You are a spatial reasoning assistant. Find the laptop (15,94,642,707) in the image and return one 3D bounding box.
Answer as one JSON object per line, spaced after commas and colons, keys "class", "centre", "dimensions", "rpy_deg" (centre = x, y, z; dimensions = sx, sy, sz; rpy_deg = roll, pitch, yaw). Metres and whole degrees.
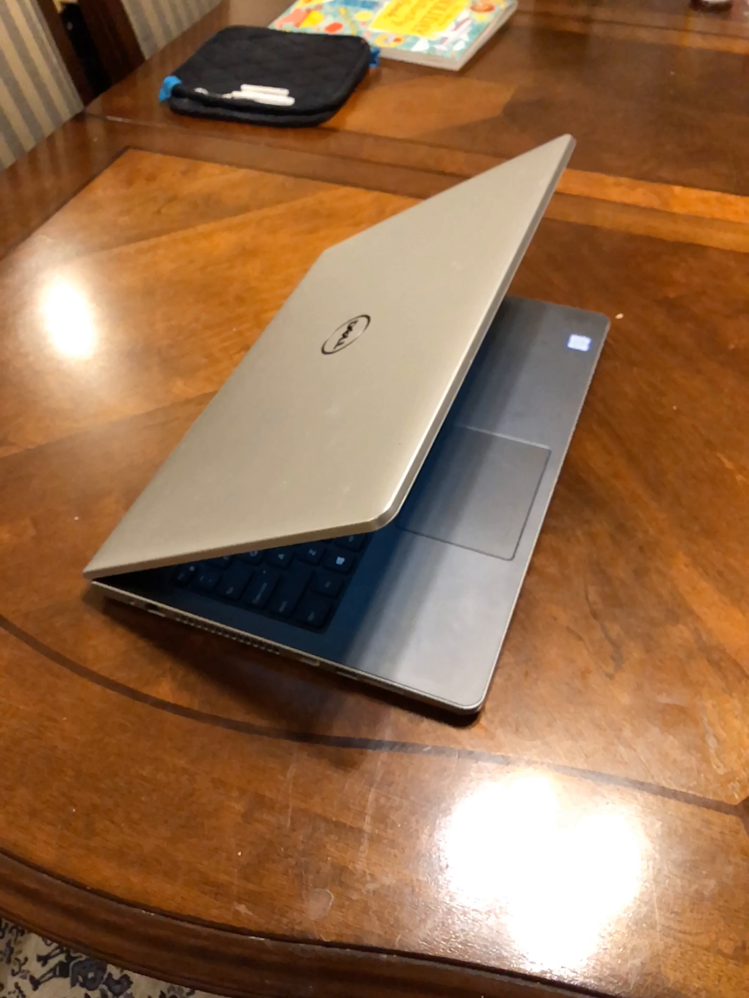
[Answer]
{"class": "laptop", "centre": [0.003, -0.095, 0.546], "dimensions": [0.245, 0.147, 0.365], "rpy_deg": [16, 53, 15]}
